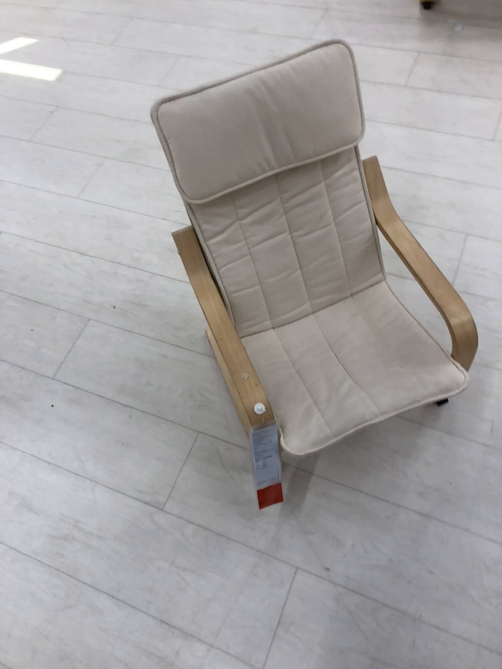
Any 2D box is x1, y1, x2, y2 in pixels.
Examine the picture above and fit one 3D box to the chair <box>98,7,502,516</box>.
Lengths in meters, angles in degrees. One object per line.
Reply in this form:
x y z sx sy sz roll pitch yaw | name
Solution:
0.131 -0.091 1.106 0.530 0.688 0.561 -22 58 -6 | chair
